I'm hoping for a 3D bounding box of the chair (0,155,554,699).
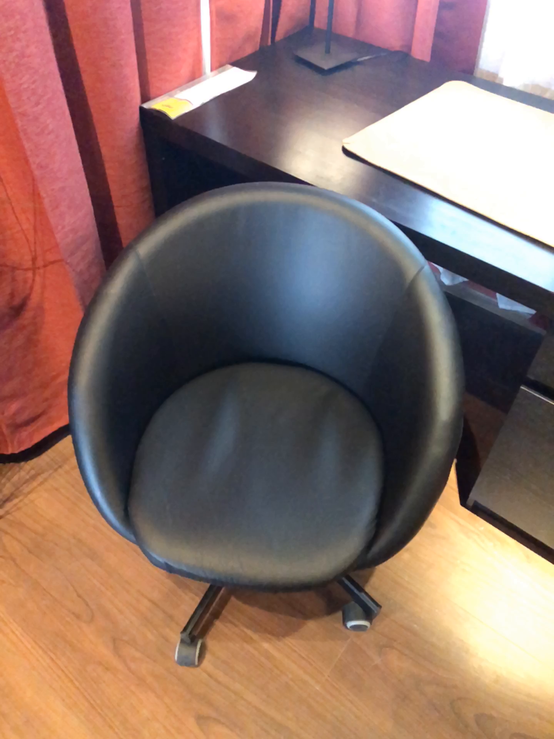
[{"bbox_3d":[-0.017,0.123,1.019,0.630,0.696,0.574,3,48,2],"label":"chair"}]
